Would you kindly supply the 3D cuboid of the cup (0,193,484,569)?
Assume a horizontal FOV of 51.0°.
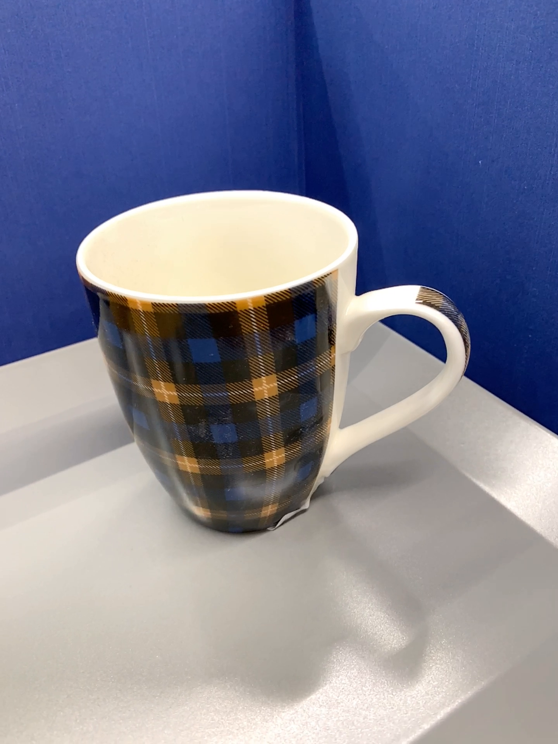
[{"bbox_3d":[-0.006,-0.004,0.204,0.121,0.089,0.095,2,32,7],"label":"cup"}]
